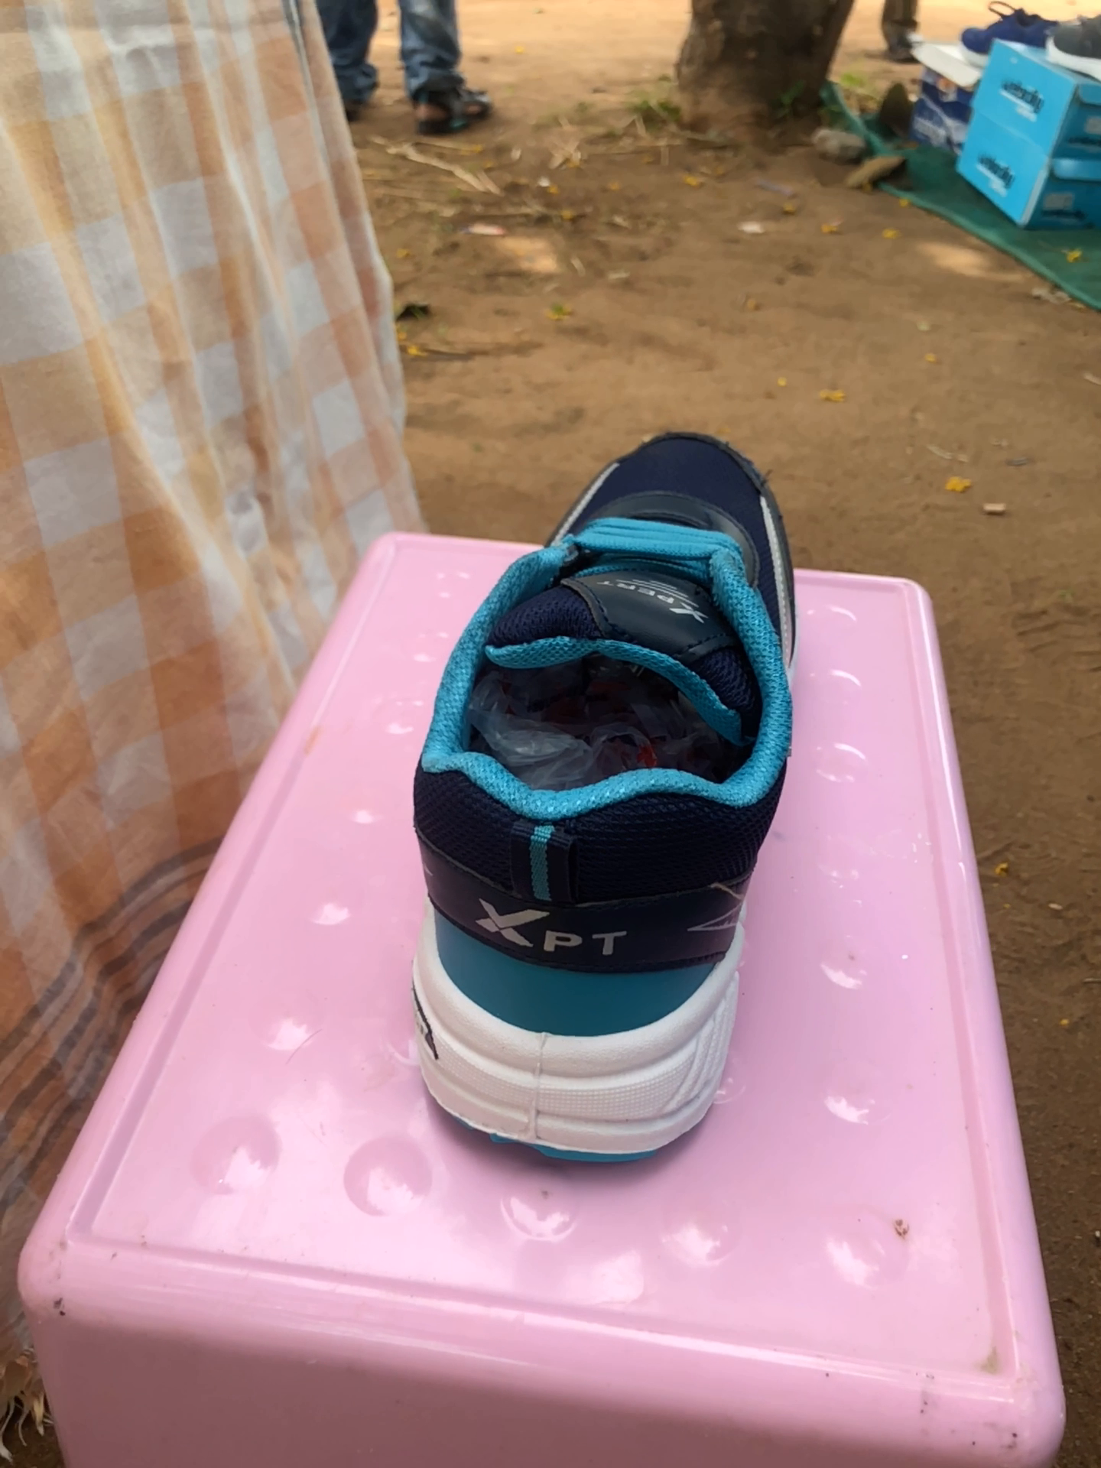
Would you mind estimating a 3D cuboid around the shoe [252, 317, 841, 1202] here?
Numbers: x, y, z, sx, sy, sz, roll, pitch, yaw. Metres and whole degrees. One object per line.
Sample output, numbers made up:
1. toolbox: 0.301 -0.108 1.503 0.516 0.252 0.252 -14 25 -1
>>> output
1. shoe: 0.022 -0.022 0.367 0.110 0.109 0.272 8 37 8
